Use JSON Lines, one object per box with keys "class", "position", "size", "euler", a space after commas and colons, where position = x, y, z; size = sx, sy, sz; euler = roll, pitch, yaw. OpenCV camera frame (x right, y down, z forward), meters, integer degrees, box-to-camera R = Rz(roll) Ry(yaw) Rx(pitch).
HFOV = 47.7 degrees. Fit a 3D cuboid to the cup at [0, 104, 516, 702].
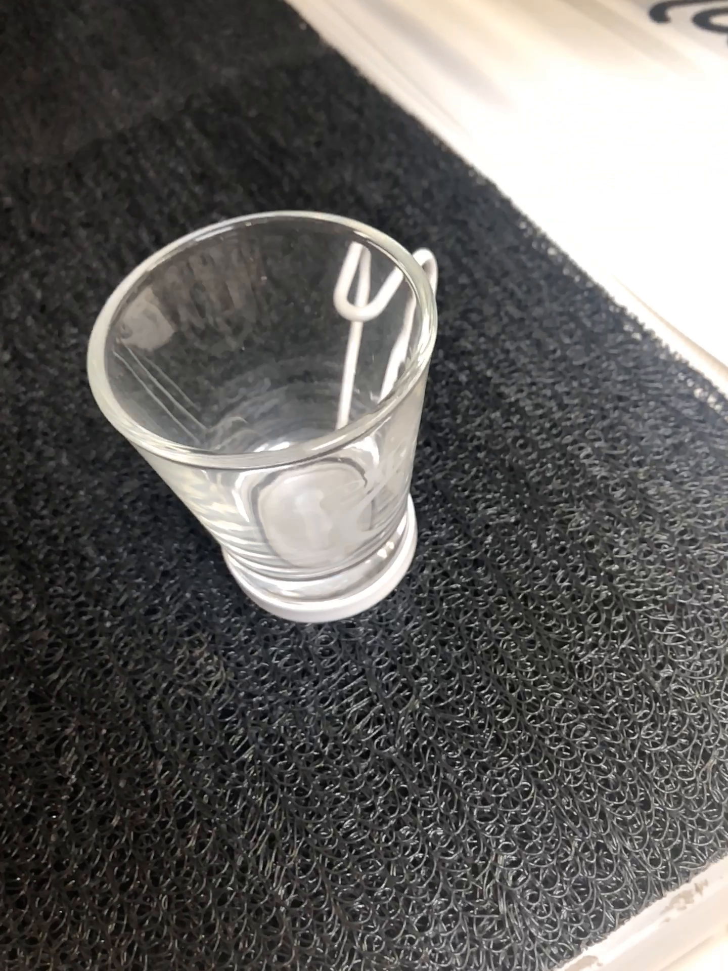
{"class": "cup", "position": [-0.011, -0.018, 0.168], "size": [0.059, 0.063, 0.093], "euler": [14, 58, 12]}
